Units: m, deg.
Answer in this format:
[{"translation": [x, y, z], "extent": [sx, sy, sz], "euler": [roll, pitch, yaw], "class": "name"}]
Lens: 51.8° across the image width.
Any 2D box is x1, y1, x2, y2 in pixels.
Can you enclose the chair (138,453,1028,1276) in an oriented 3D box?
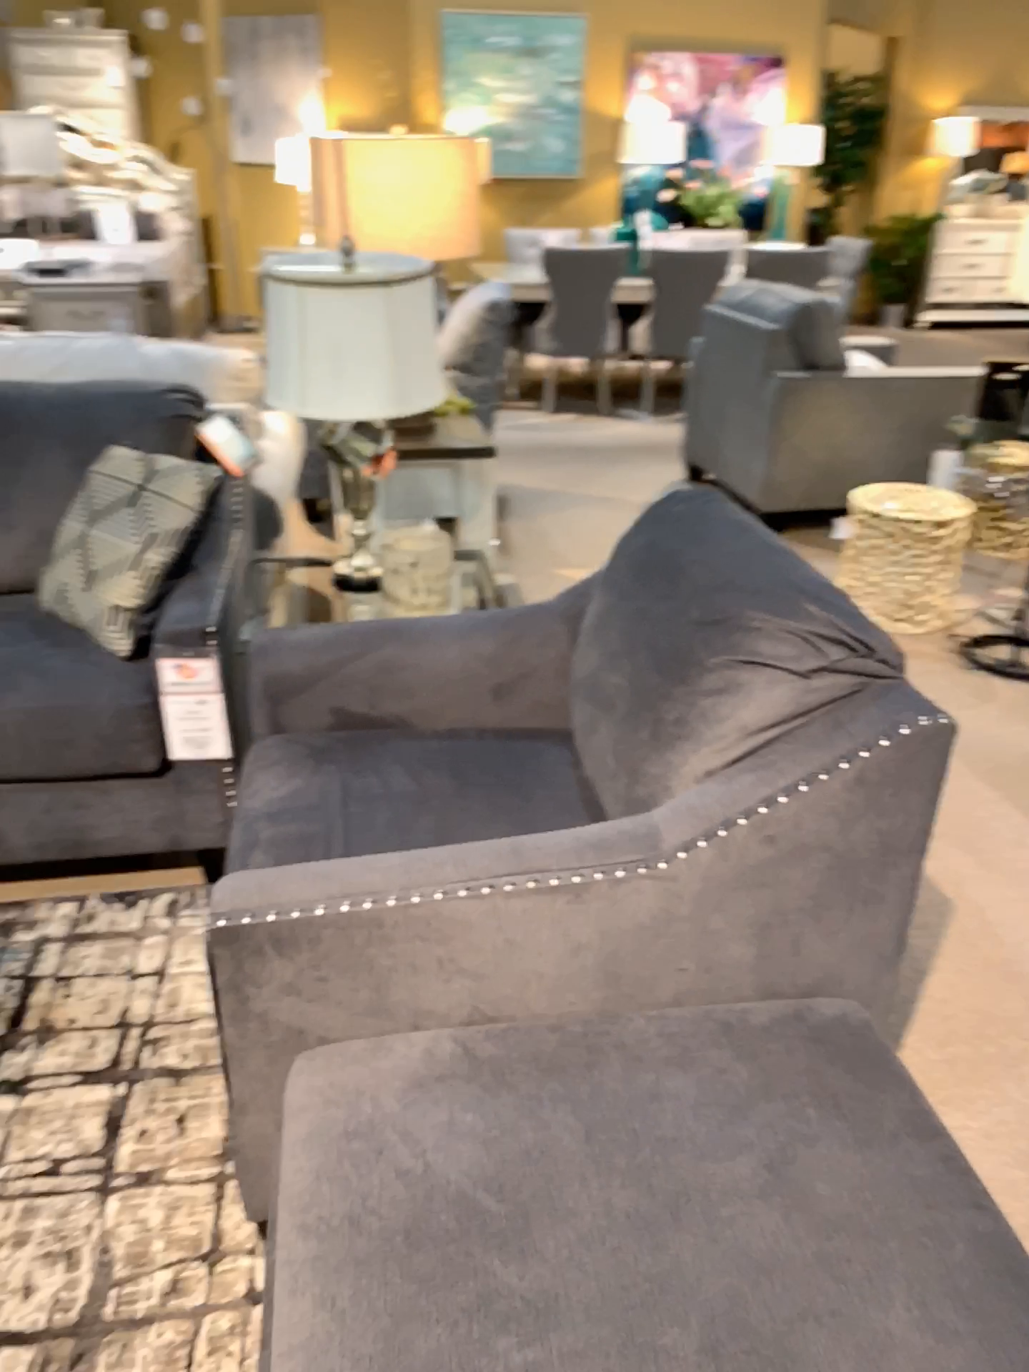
[{"translation": [0.020, 0.170, 1.701], "extent": [0.957, 0.840, 0.925], "euler": [-3, 27, -9], "class": "chair"}]
